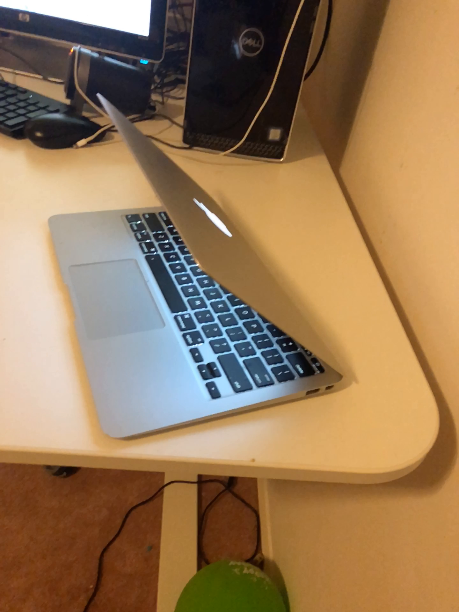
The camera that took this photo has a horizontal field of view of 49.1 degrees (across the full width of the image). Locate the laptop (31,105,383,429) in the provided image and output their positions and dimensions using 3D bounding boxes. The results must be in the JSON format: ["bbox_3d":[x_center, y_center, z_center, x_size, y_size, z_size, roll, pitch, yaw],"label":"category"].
[{"bbox_3d":[-0.047,-0.064,0.432,0.181,0.108,0.287,-10,44,-23],"label":"laptop"}]
